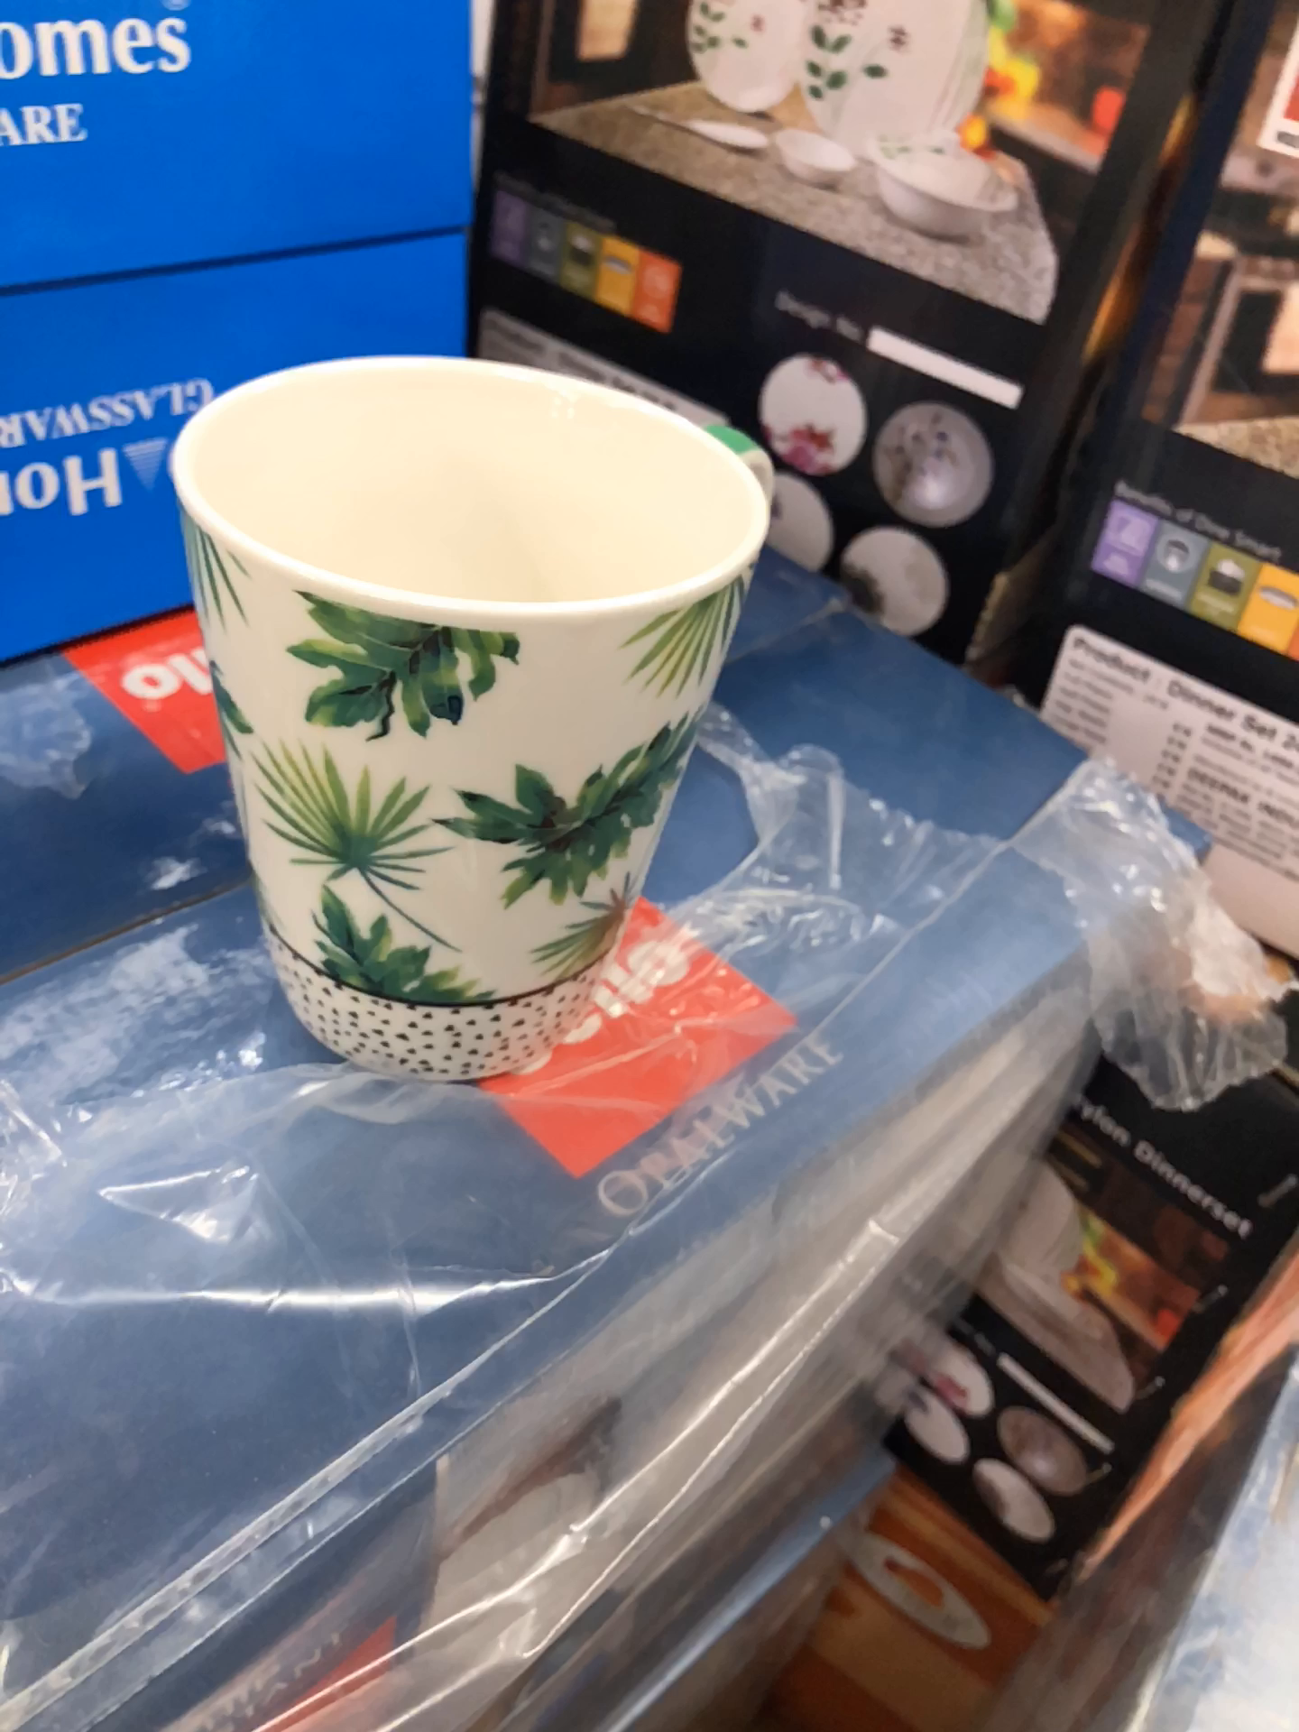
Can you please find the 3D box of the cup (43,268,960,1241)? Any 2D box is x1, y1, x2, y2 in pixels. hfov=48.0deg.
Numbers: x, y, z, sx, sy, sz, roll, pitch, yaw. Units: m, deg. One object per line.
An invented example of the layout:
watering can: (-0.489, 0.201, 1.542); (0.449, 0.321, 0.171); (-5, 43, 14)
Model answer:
cup: (-0.021, -0.027, 0.248); (0.080, 0.099, 0.121); (29, 42, 18)
